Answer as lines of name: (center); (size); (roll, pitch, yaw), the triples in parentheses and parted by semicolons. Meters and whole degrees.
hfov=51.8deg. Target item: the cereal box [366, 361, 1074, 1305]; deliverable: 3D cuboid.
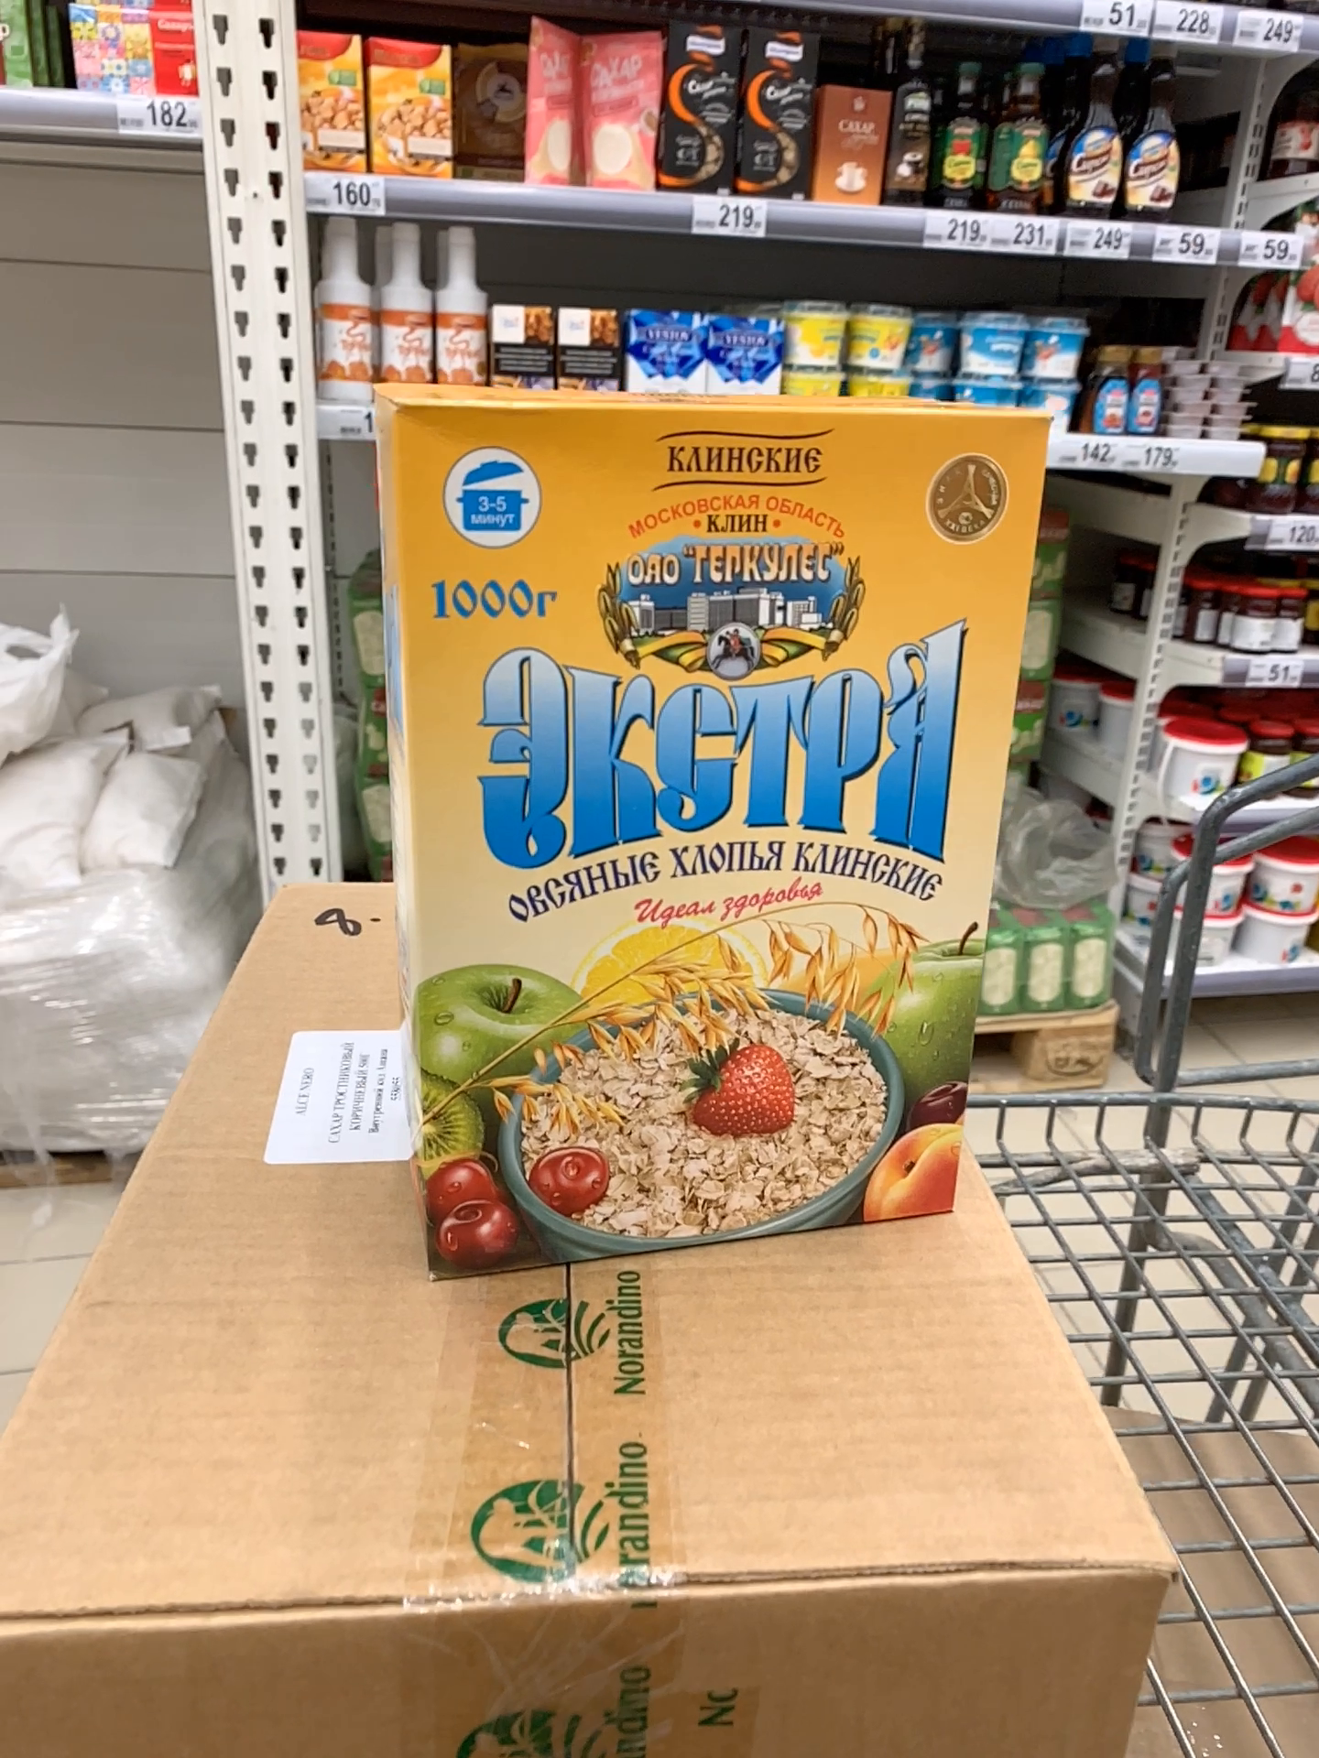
cereal box: (0.004, -0.018, 0.394); (0.160, 0.239, 0.100); (-3, 23, -15)
